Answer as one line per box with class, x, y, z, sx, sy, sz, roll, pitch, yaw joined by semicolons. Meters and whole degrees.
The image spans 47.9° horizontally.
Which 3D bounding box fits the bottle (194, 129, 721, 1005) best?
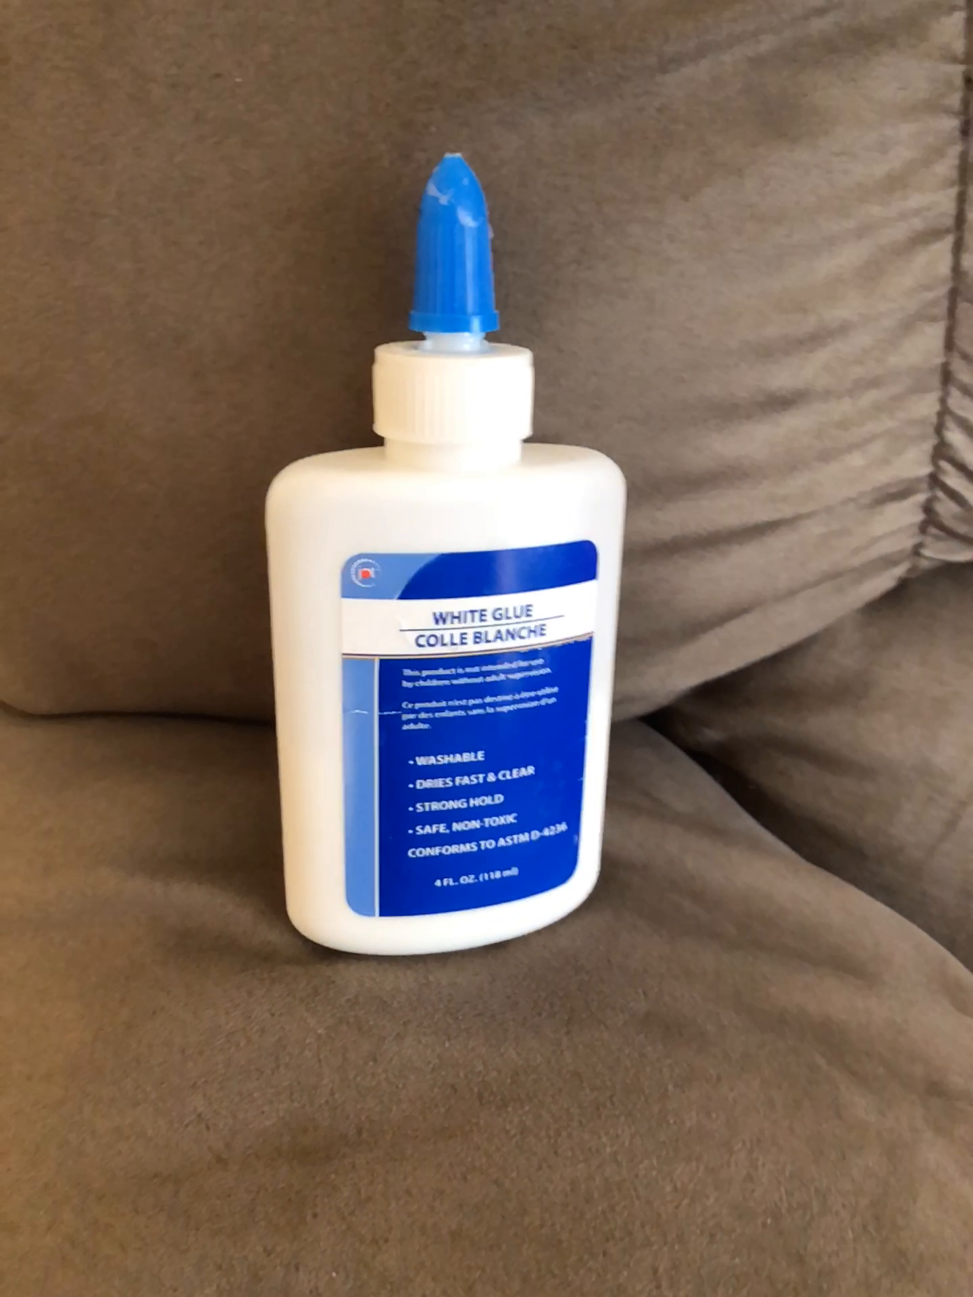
bottle;-0.008;-0.013;0.185;0.070;0.130;0.040;-5;21;-18
